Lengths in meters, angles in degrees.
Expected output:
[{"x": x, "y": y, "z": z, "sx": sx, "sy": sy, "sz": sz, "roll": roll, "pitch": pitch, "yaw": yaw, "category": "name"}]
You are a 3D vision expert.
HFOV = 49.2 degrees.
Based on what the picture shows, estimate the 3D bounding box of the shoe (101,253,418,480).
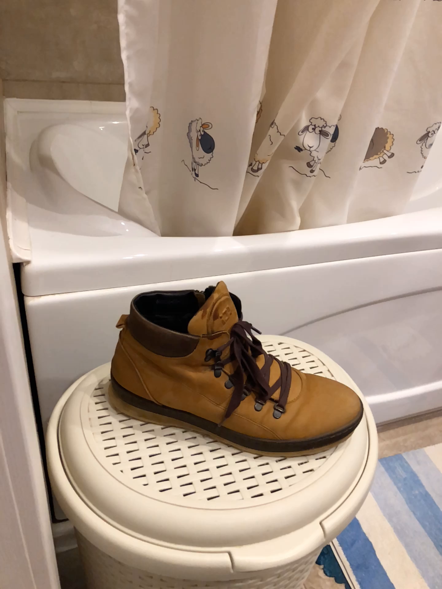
[{"x": 0.031, "y": 0.078, "z": 0.530, "sx": 0.290, "sy": 0.169, "sz": 0.111, "roll": 10, "pitch": 35, "yaw": 3, "category": "shoe"}]
